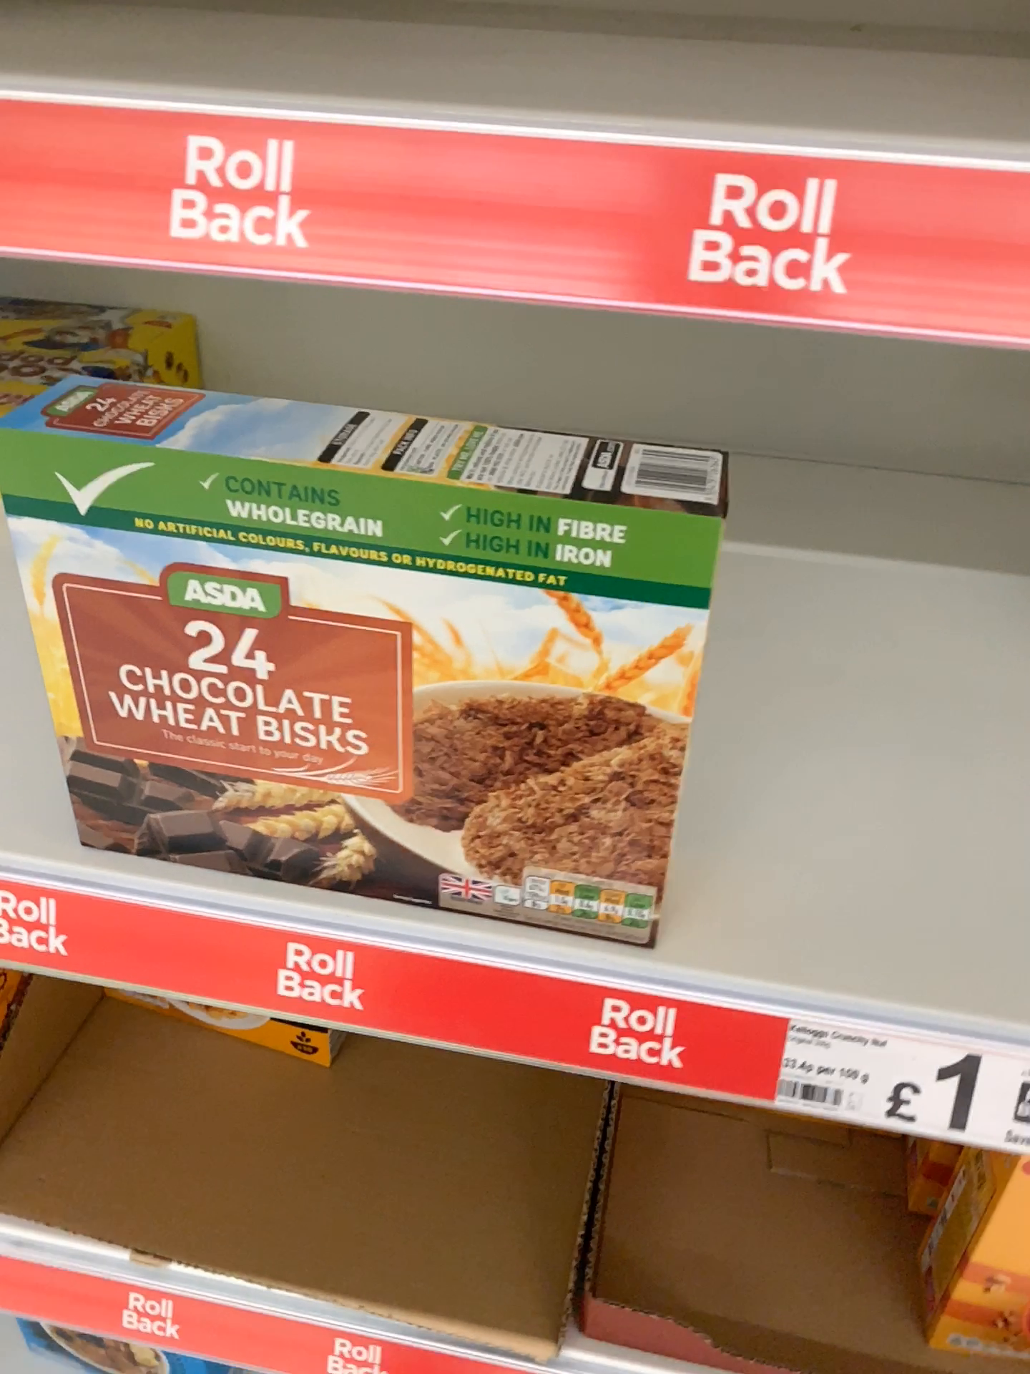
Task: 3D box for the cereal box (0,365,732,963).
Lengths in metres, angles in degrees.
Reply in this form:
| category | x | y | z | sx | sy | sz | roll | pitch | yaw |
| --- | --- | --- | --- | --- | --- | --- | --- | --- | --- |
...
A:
| category | x | y | z | sx | sy | sz | roll | pitch | yaw |
| --- | --- | --- | --- | --- | --- | --- | --- | --- | --- |
| cereal box | -0.060 | -0.008 | 0.396 | 0.250 | 0.178 | 0.071 | 9 | 35 | 8 |
